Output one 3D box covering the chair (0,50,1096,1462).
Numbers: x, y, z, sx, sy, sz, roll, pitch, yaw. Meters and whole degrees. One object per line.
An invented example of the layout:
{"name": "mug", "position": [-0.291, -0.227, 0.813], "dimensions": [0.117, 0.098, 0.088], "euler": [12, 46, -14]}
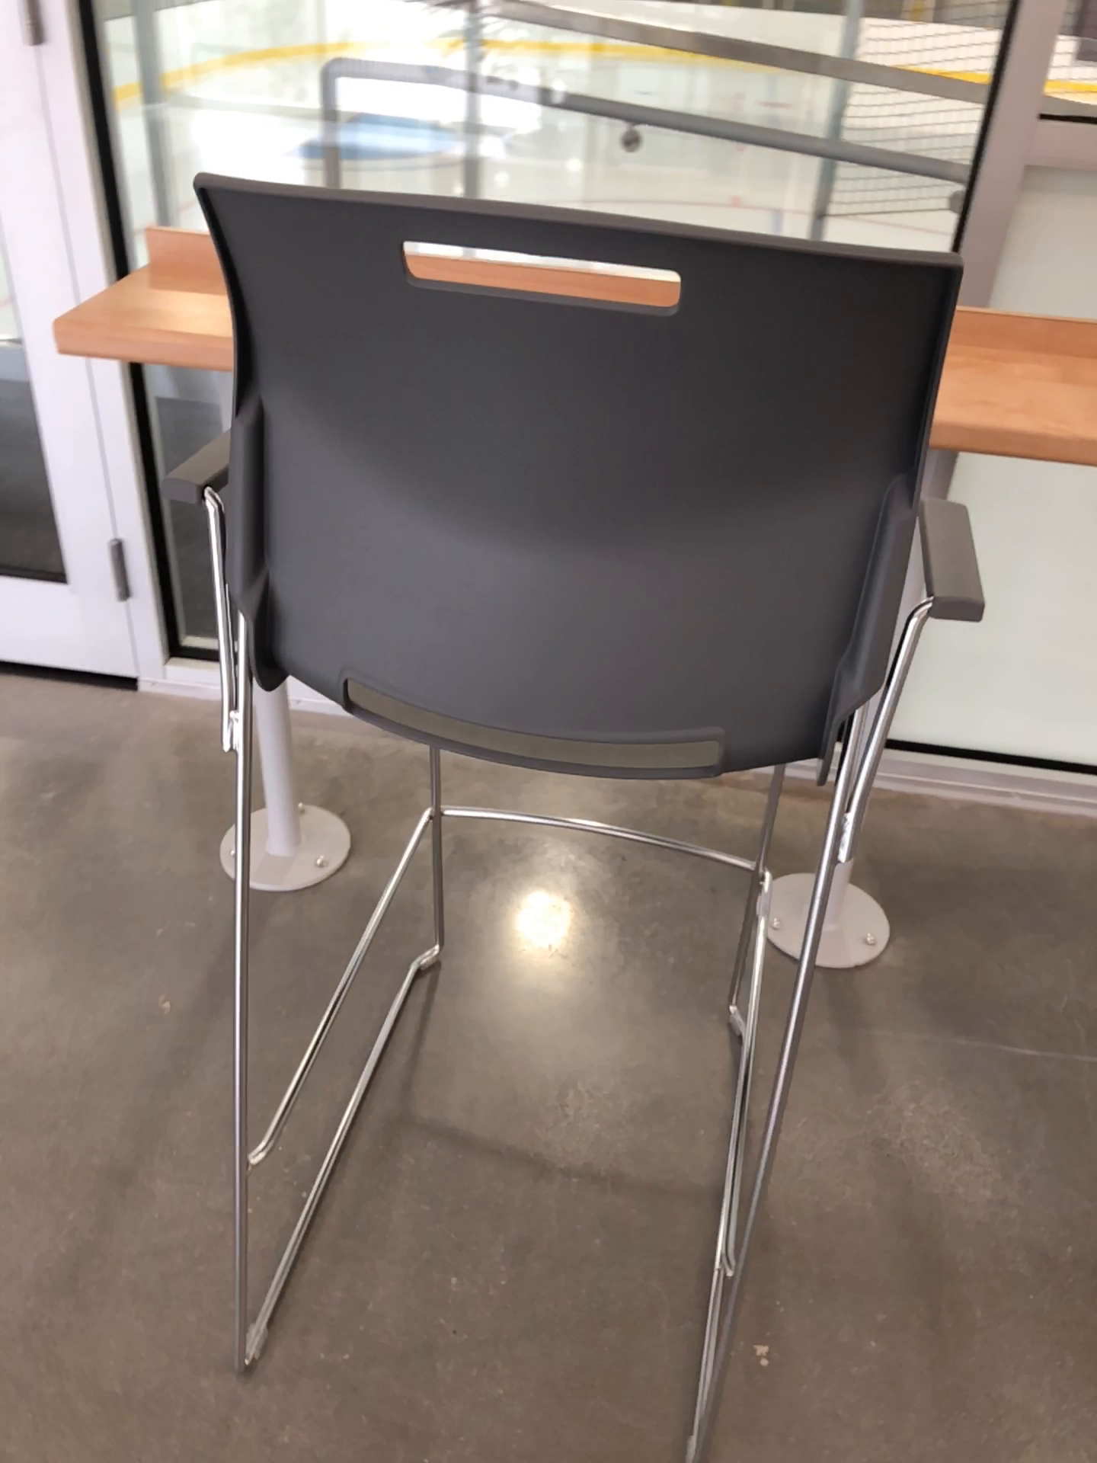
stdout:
{"name": "chair", "position": [0.030, 0.040, 1.108], "dimensions": [0.600, 1.072, 0.664], "euler": [9, 35, 6]}
